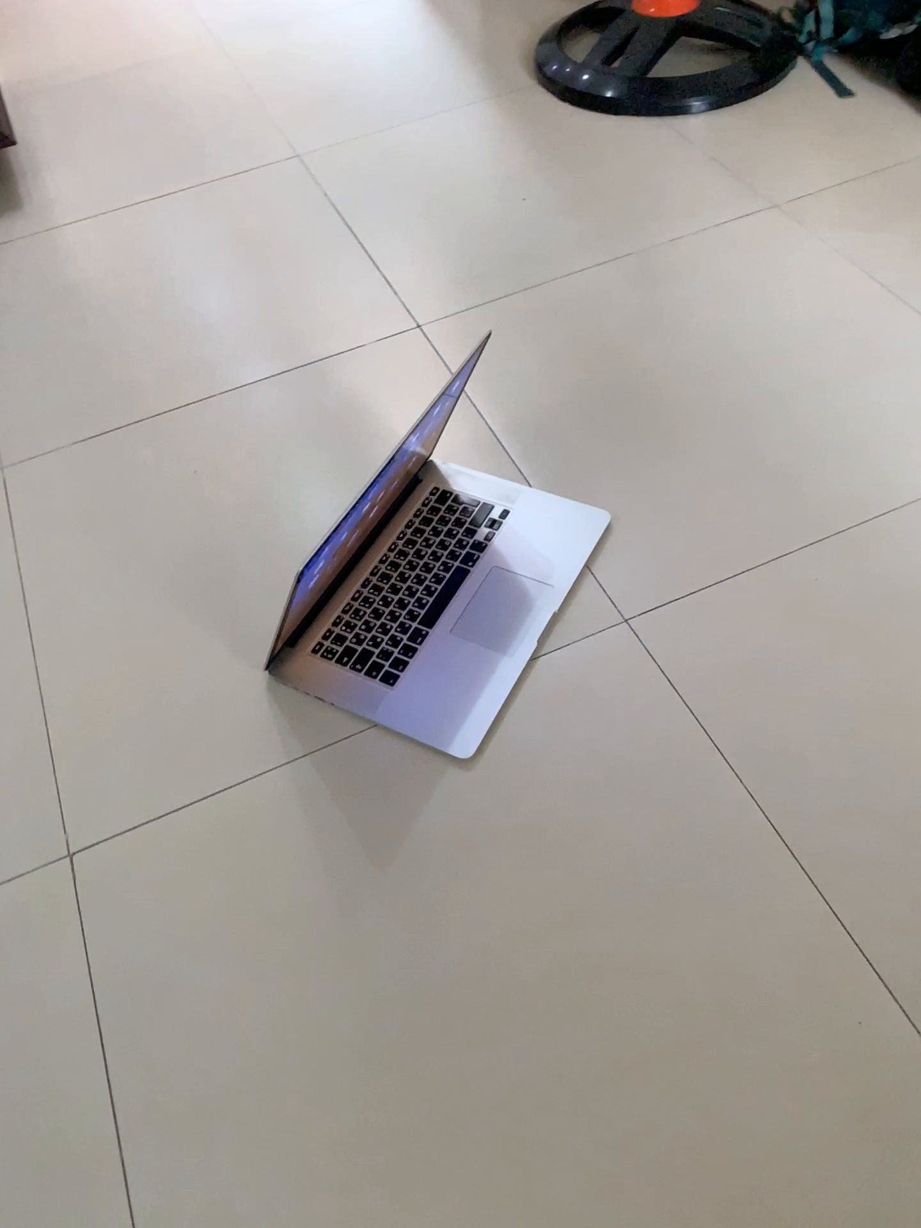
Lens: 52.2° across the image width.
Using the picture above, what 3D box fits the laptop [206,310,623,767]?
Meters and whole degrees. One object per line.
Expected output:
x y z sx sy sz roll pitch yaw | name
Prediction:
-0.021 -0.090 0.947 0.241 0.207 0.360 20 57 21 | laptop
